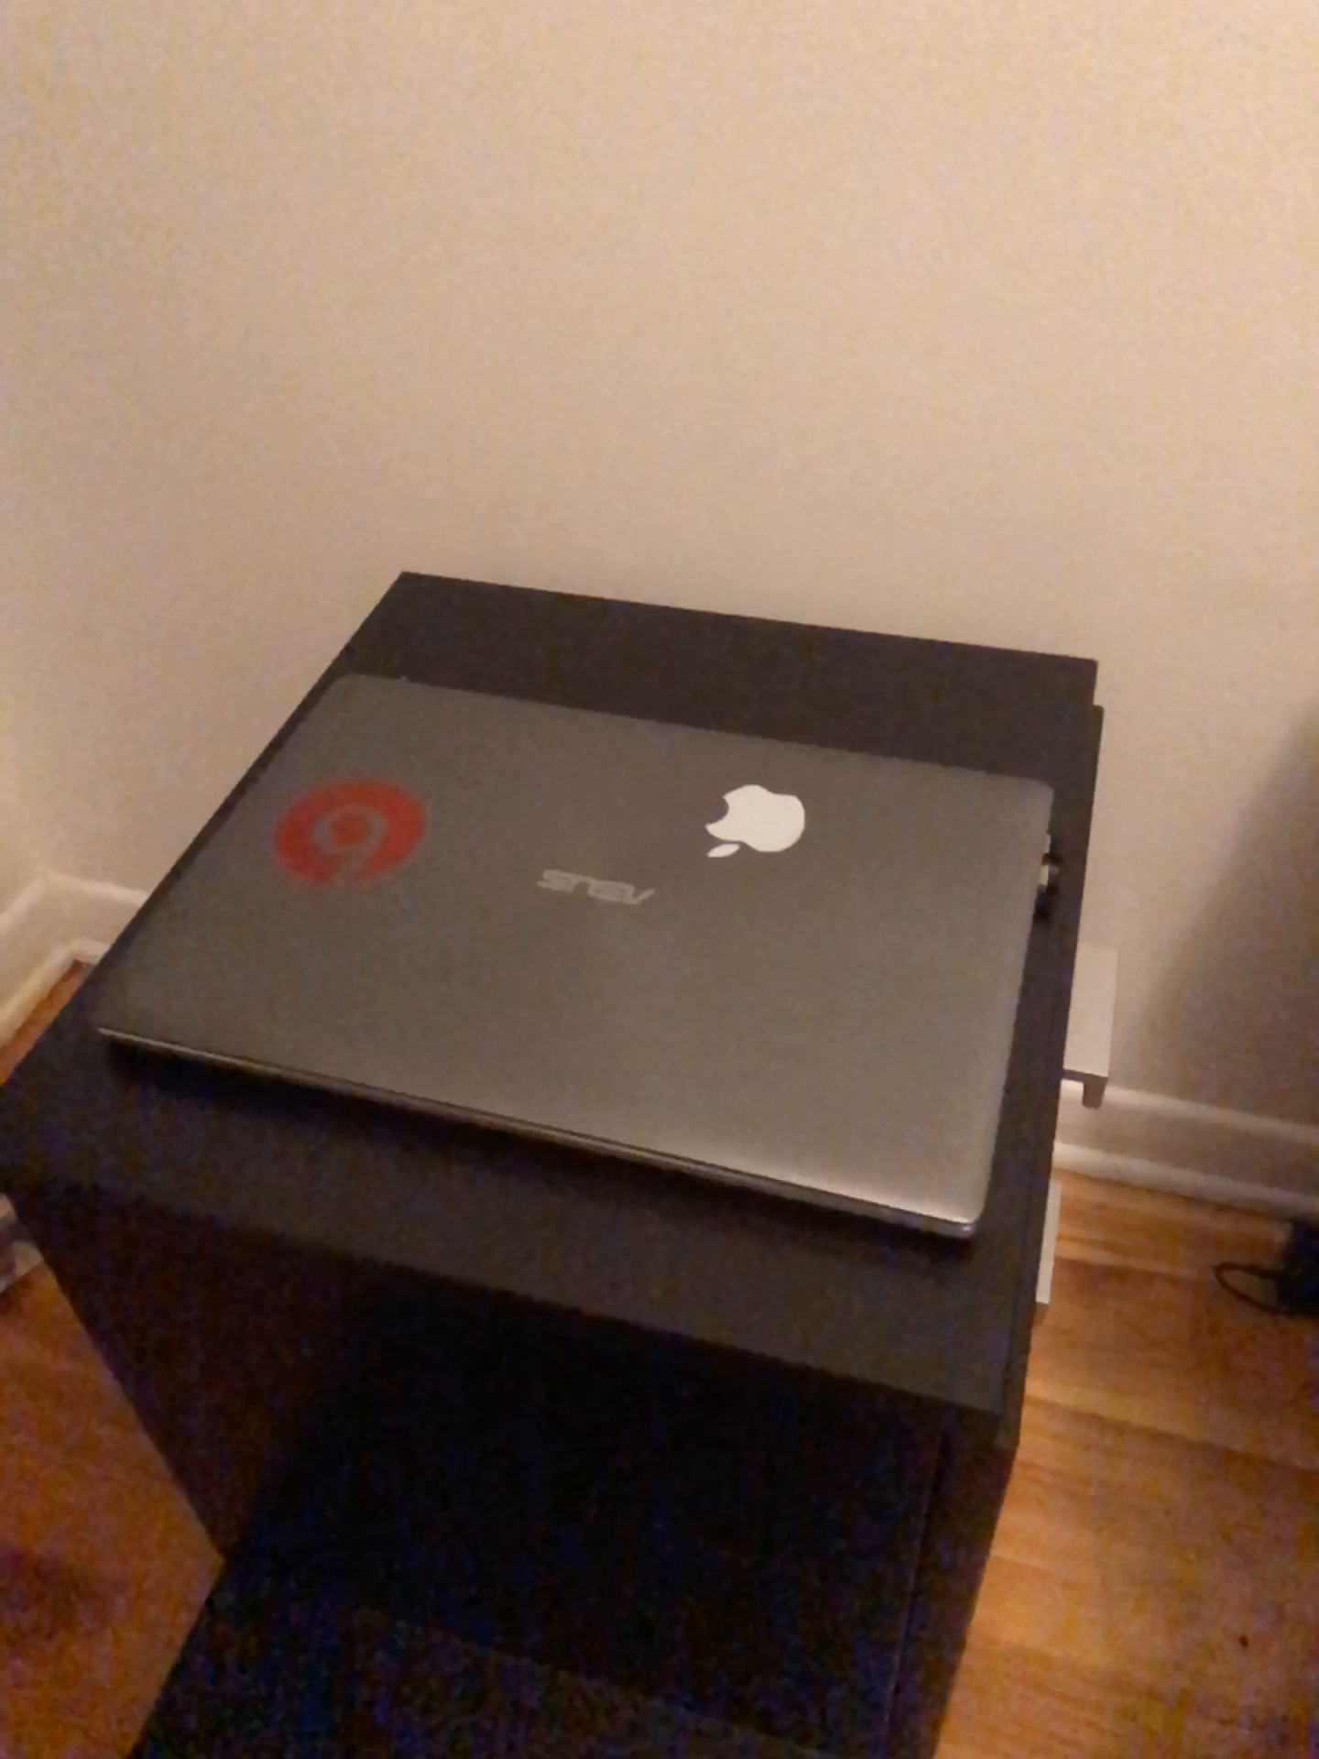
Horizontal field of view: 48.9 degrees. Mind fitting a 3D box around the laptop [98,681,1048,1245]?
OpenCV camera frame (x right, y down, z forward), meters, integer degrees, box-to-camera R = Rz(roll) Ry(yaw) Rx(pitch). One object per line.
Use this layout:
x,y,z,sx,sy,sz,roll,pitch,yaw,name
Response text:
-0.027,0.013,0.661,0.373,0.010,0.250,10,46,15,laptop
